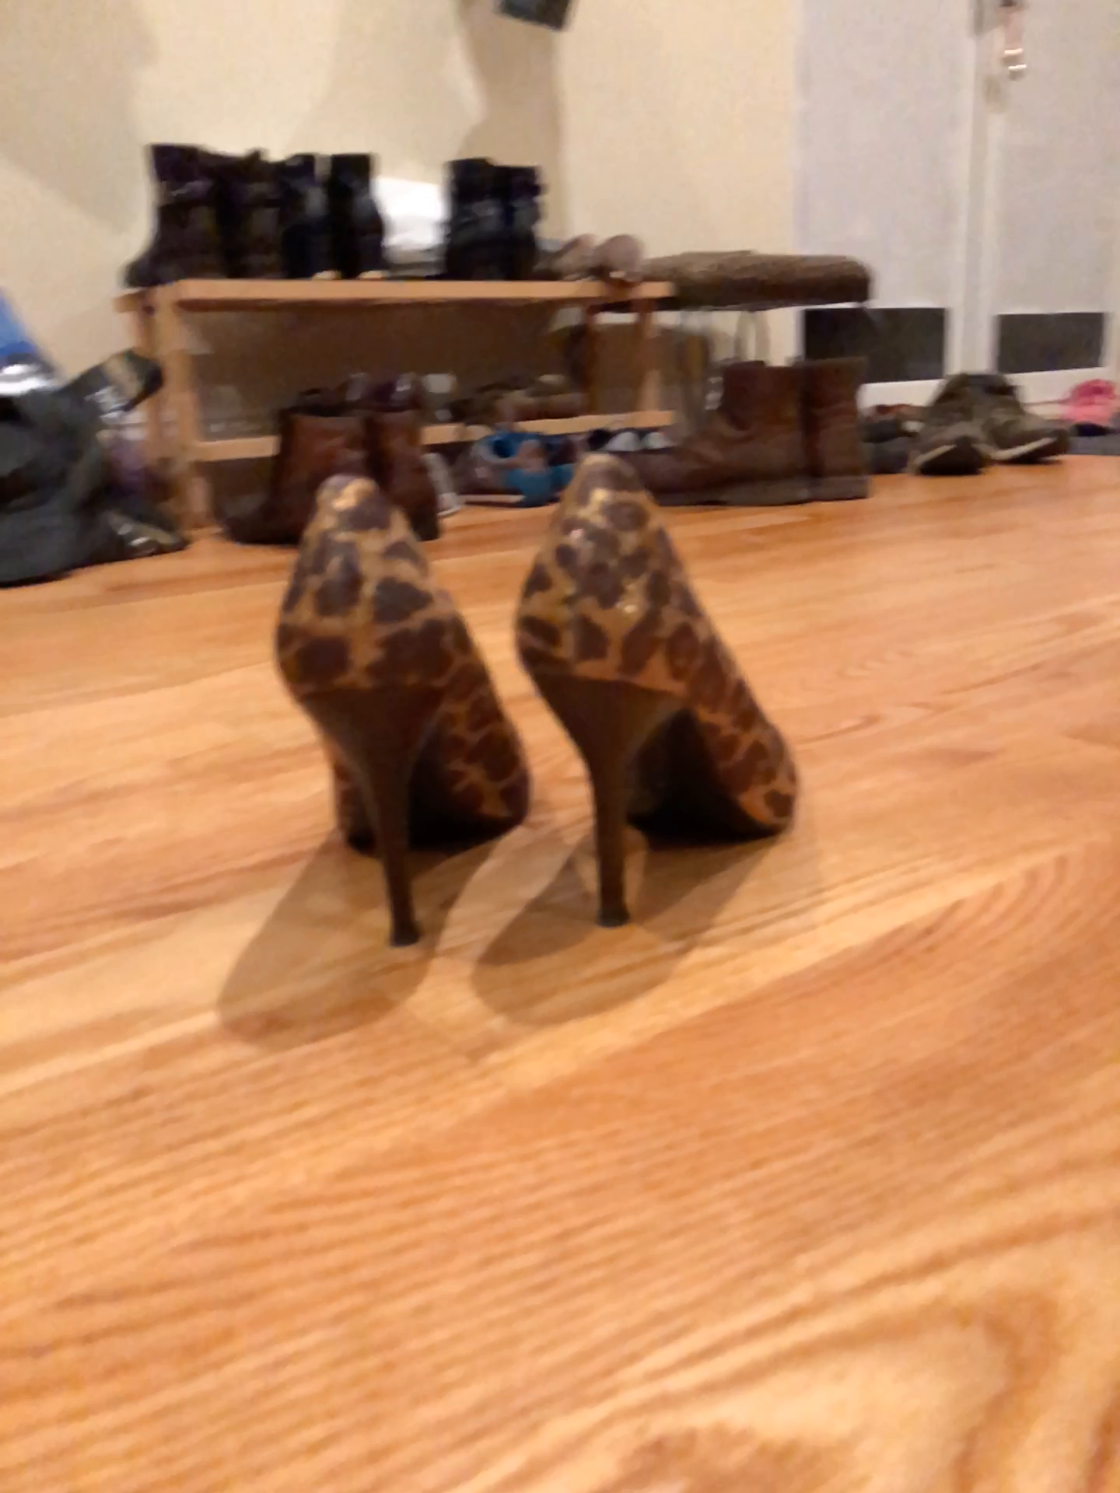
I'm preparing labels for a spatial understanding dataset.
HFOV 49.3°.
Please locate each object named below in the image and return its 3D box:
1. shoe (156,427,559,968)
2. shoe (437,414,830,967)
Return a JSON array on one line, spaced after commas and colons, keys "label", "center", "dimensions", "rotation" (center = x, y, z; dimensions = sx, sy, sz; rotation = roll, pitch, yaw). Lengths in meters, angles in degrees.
[{"label": "shoe", "center": [-0.054, -0.036, 0.441], "dimensions": [0.083, 0.144, 0.219], "rotation": [-1, 16, 5]}, {"label": "shoe", "center": [0.043, -0.039, 0.437], "dimensions": [0.083, 0.144, 0.219], "rotation": [2, 17, 18]}]
